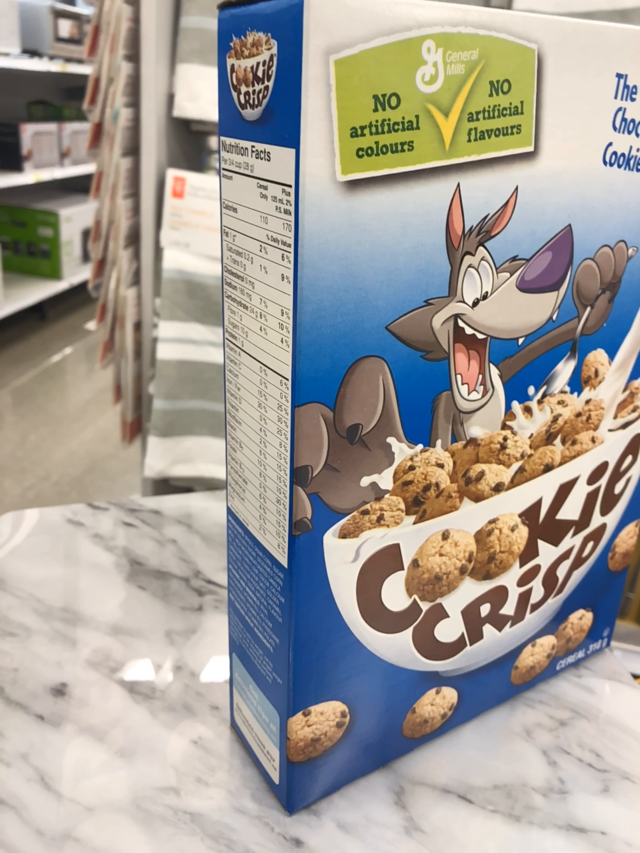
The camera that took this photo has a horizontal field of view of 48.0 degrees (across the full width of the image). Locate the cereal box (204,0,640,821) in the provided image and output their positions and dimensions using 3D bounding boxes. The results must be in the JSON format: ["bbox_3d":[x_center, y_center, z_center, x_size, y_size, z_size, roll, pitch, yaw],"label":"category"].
[{"bbox_3d":[0.069,-0.014,0.272,0.210,0.269,0.050,-14,28,-31],"label":"cereal box"}]
